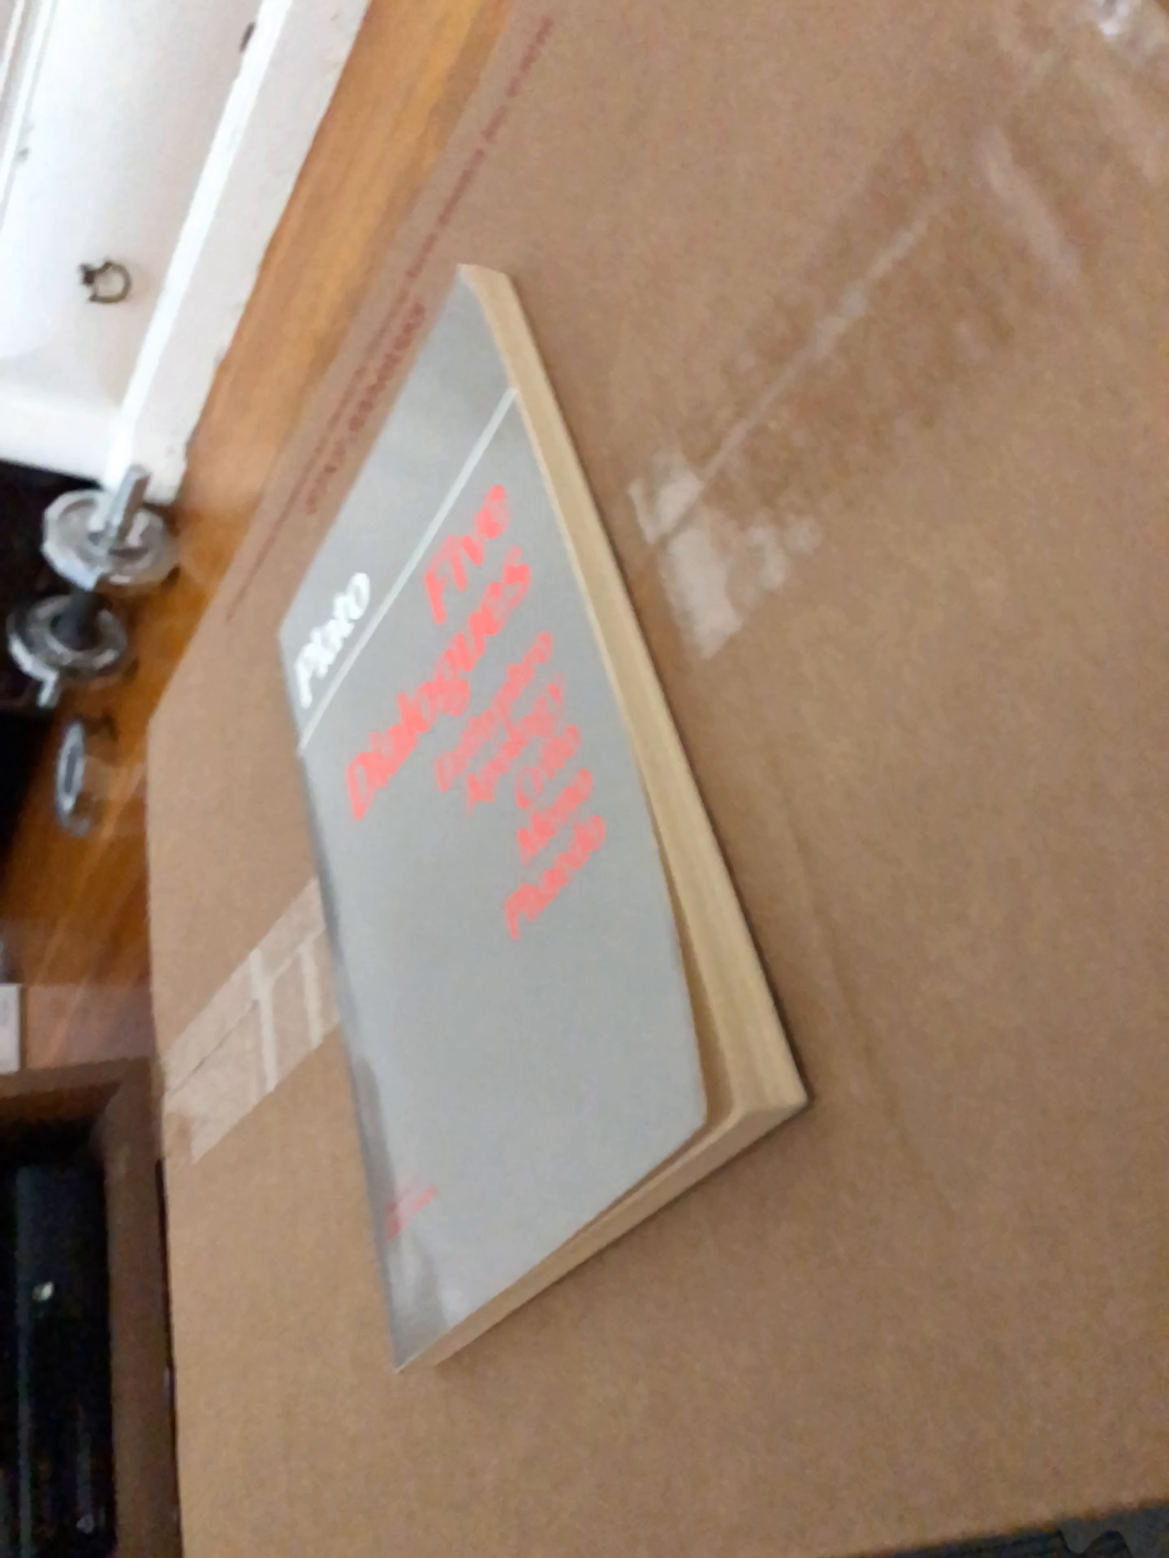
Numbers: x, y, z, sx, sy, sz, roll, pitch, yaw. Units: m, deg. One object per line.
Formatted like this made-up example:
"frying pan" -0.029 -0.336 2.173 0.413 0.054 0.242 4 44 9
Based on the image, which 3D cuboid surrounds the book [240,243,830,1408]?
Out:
"book" -0.034 0.004 0.294 0.140 0.020 0.221 -51 44 40
